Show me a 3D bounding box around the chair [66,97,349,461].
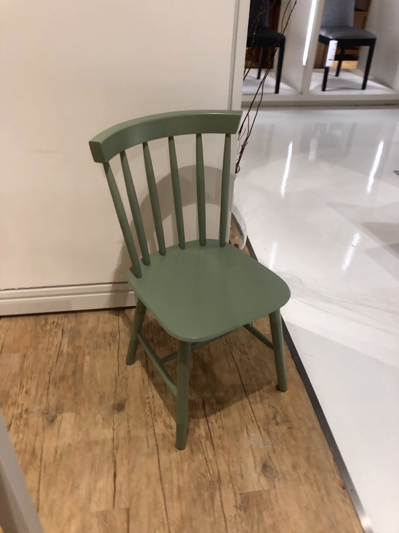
[{"bbox_3d":[-0.017,0.019,1.286,0.471,0.813,0.523,-19,41,-27],"label":"chair"}]
